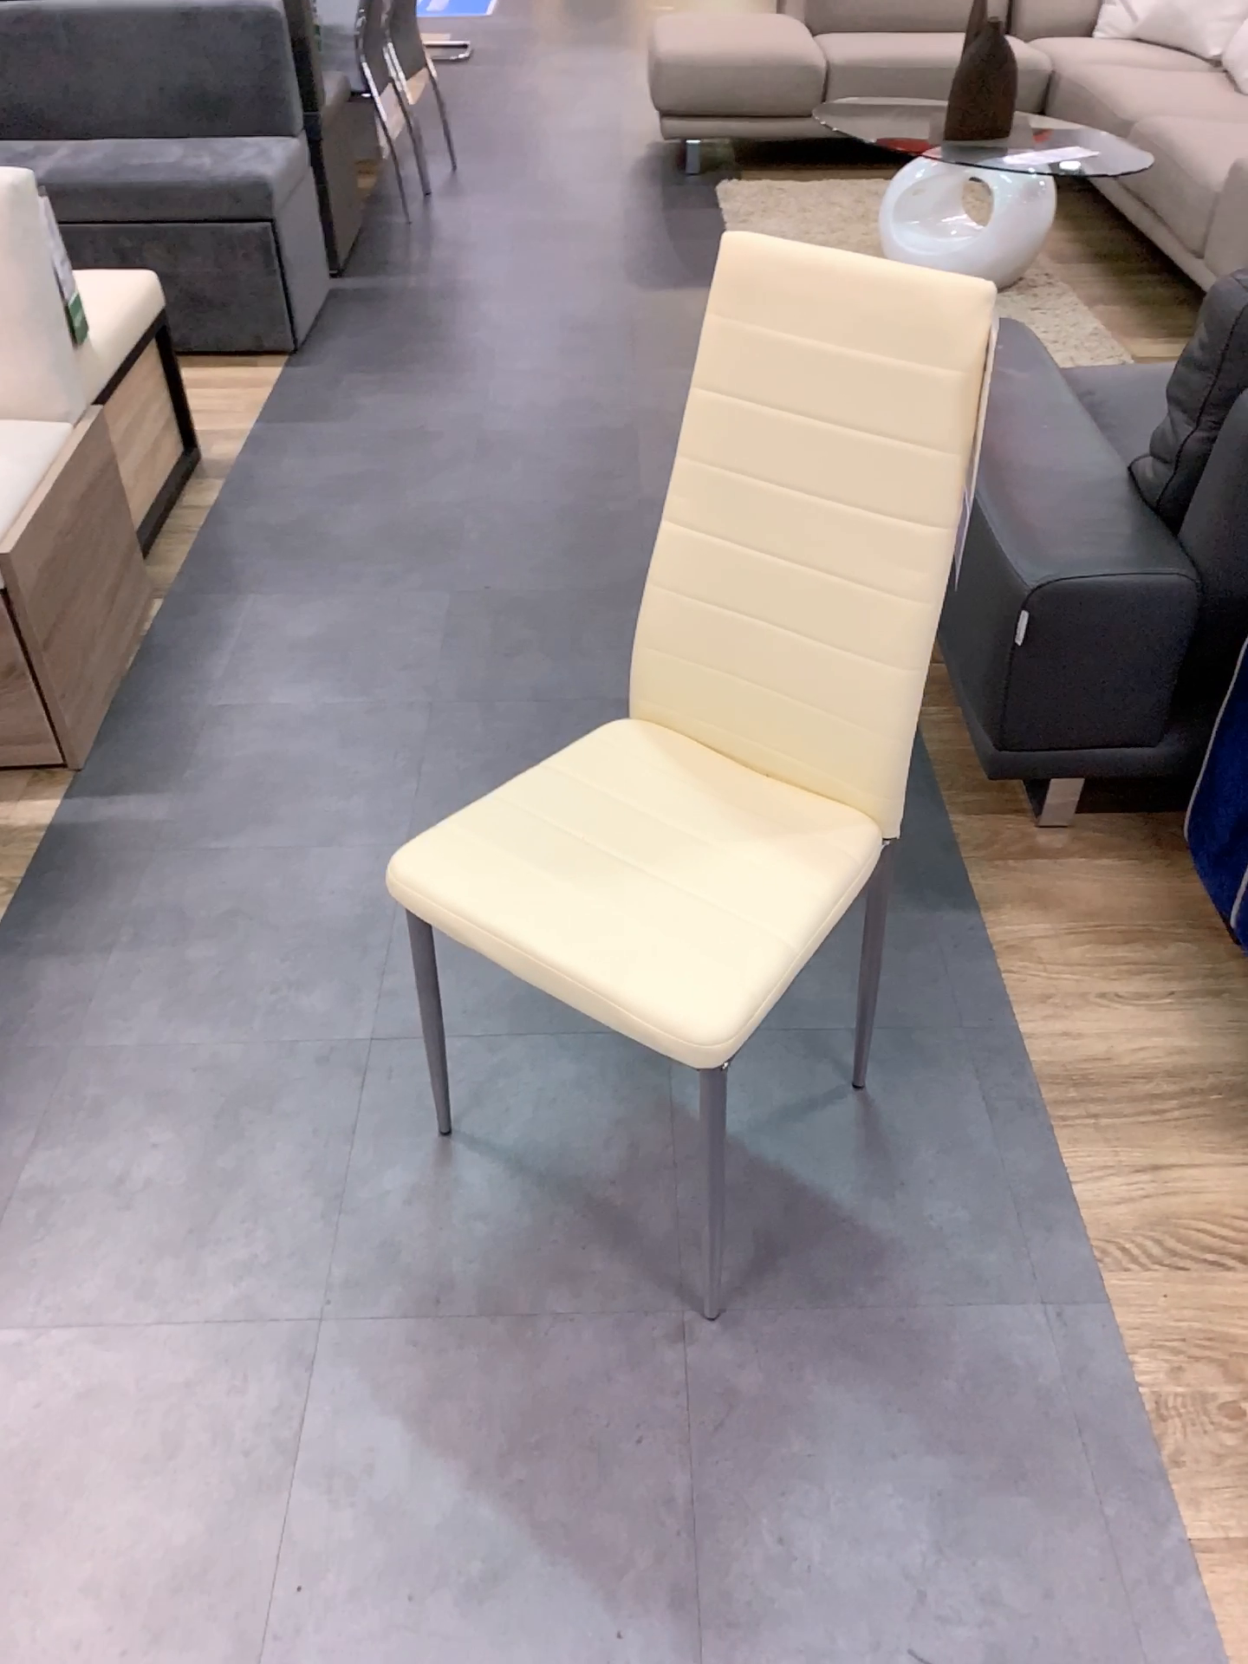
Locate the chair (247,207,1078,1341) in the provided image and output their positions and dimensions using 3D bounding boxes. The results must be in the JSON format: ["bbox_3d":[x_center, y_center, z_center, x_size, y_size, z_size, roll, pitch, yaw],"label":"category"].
[{"bbox_3d":[0.049,-0.036,1.288,0.446,0.940,0.479,26,47,29],"label":"chair"}]
